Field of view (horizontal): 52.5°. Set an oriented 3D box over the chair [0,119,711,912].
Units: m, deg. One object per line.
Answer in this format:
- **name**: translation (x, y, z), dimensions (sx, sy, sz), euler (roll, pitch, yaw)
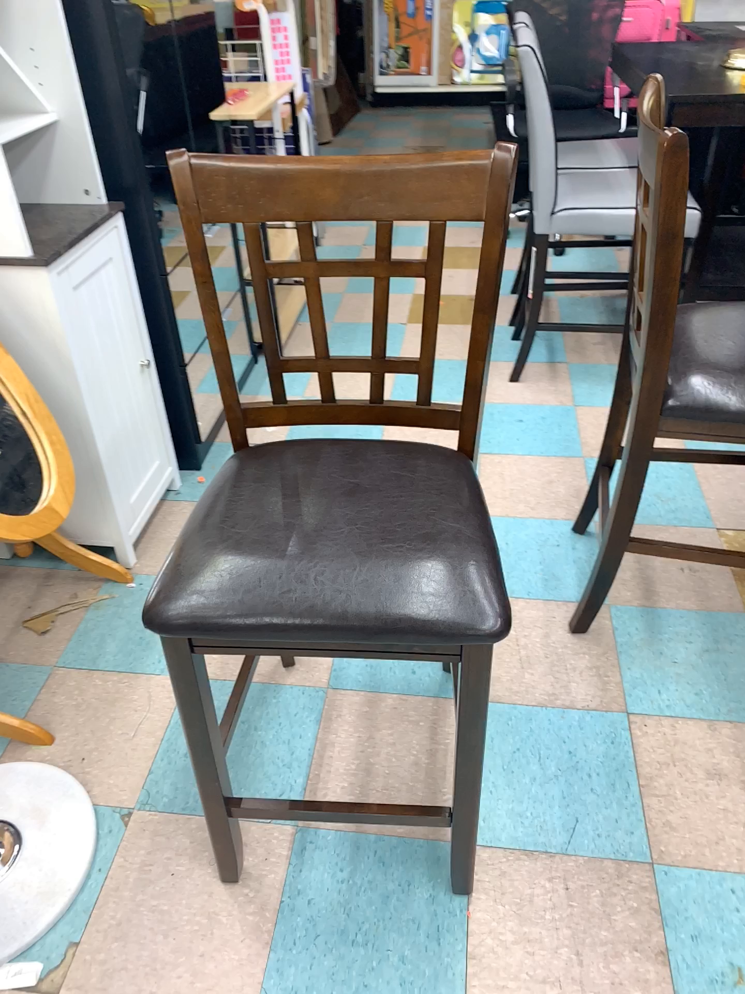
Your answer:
- **chair**: translation (0.008, 0.053, 0.937), dimensions (0.468, 0.849, 0.483), euler (1, 38, 5)
